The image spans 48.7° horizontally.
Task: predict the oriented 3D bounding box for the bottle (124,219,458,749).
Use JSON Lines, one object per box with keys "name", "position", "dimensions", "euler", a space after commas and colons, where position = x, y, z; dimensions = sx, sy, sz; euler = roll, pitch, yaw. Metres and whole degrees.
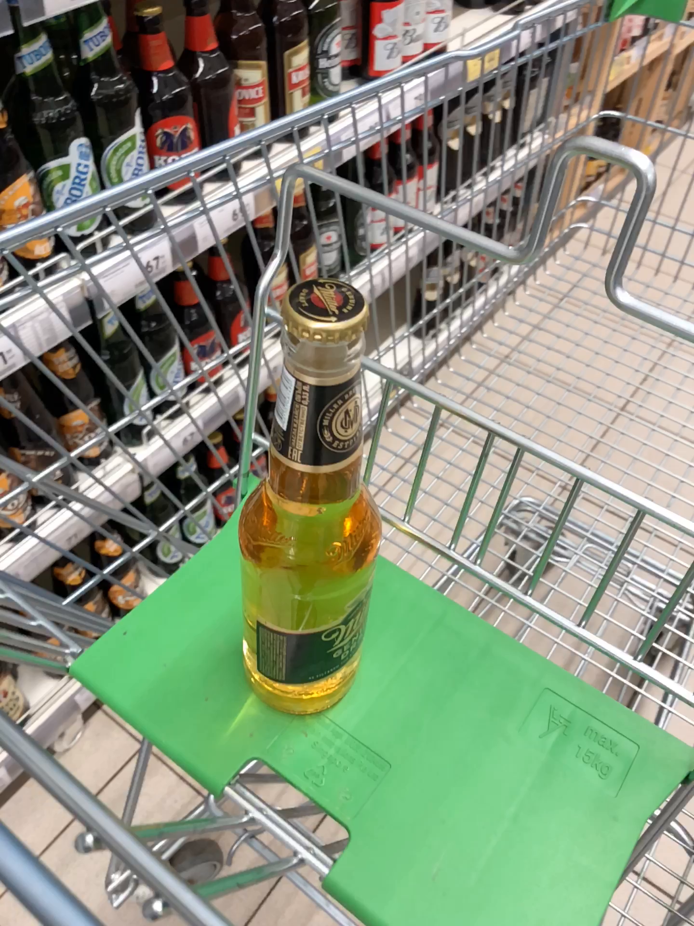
{"name": "bottle", "position": [-0.018, 0.024, 0.306], "dimensions": [0.070, 0.209, 0.070], "euler": [1, 48, -1]}
